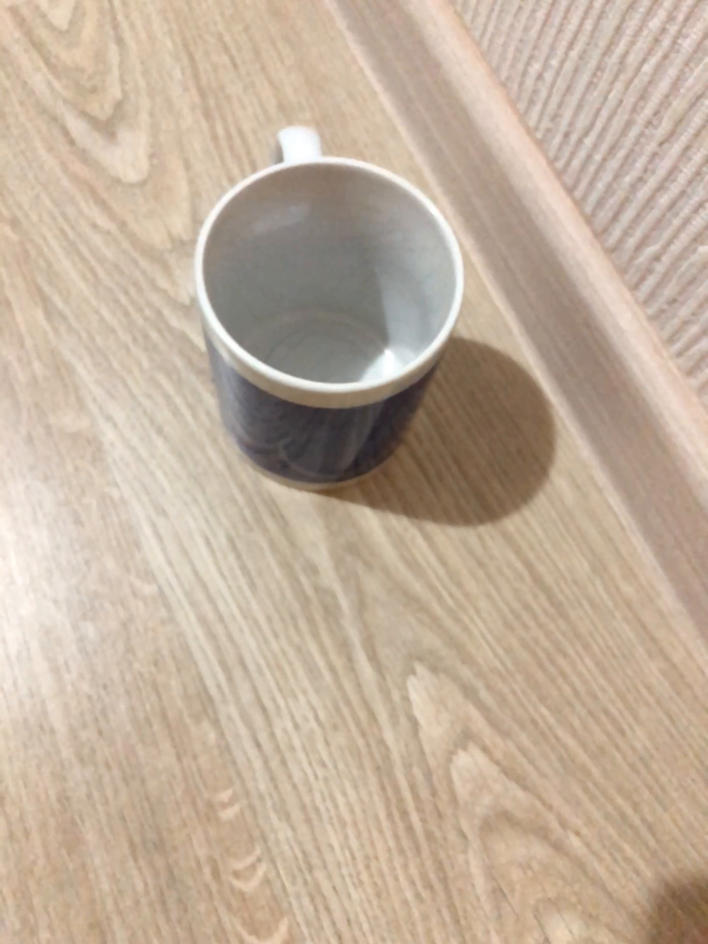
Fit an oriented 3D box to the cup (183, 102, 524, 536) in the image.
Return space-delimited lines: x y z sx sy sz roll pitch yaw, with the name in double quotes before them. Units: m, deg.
"cup" -0.008 -0.052 0.298 0.093 0.099 0.123 -5 72 -9
